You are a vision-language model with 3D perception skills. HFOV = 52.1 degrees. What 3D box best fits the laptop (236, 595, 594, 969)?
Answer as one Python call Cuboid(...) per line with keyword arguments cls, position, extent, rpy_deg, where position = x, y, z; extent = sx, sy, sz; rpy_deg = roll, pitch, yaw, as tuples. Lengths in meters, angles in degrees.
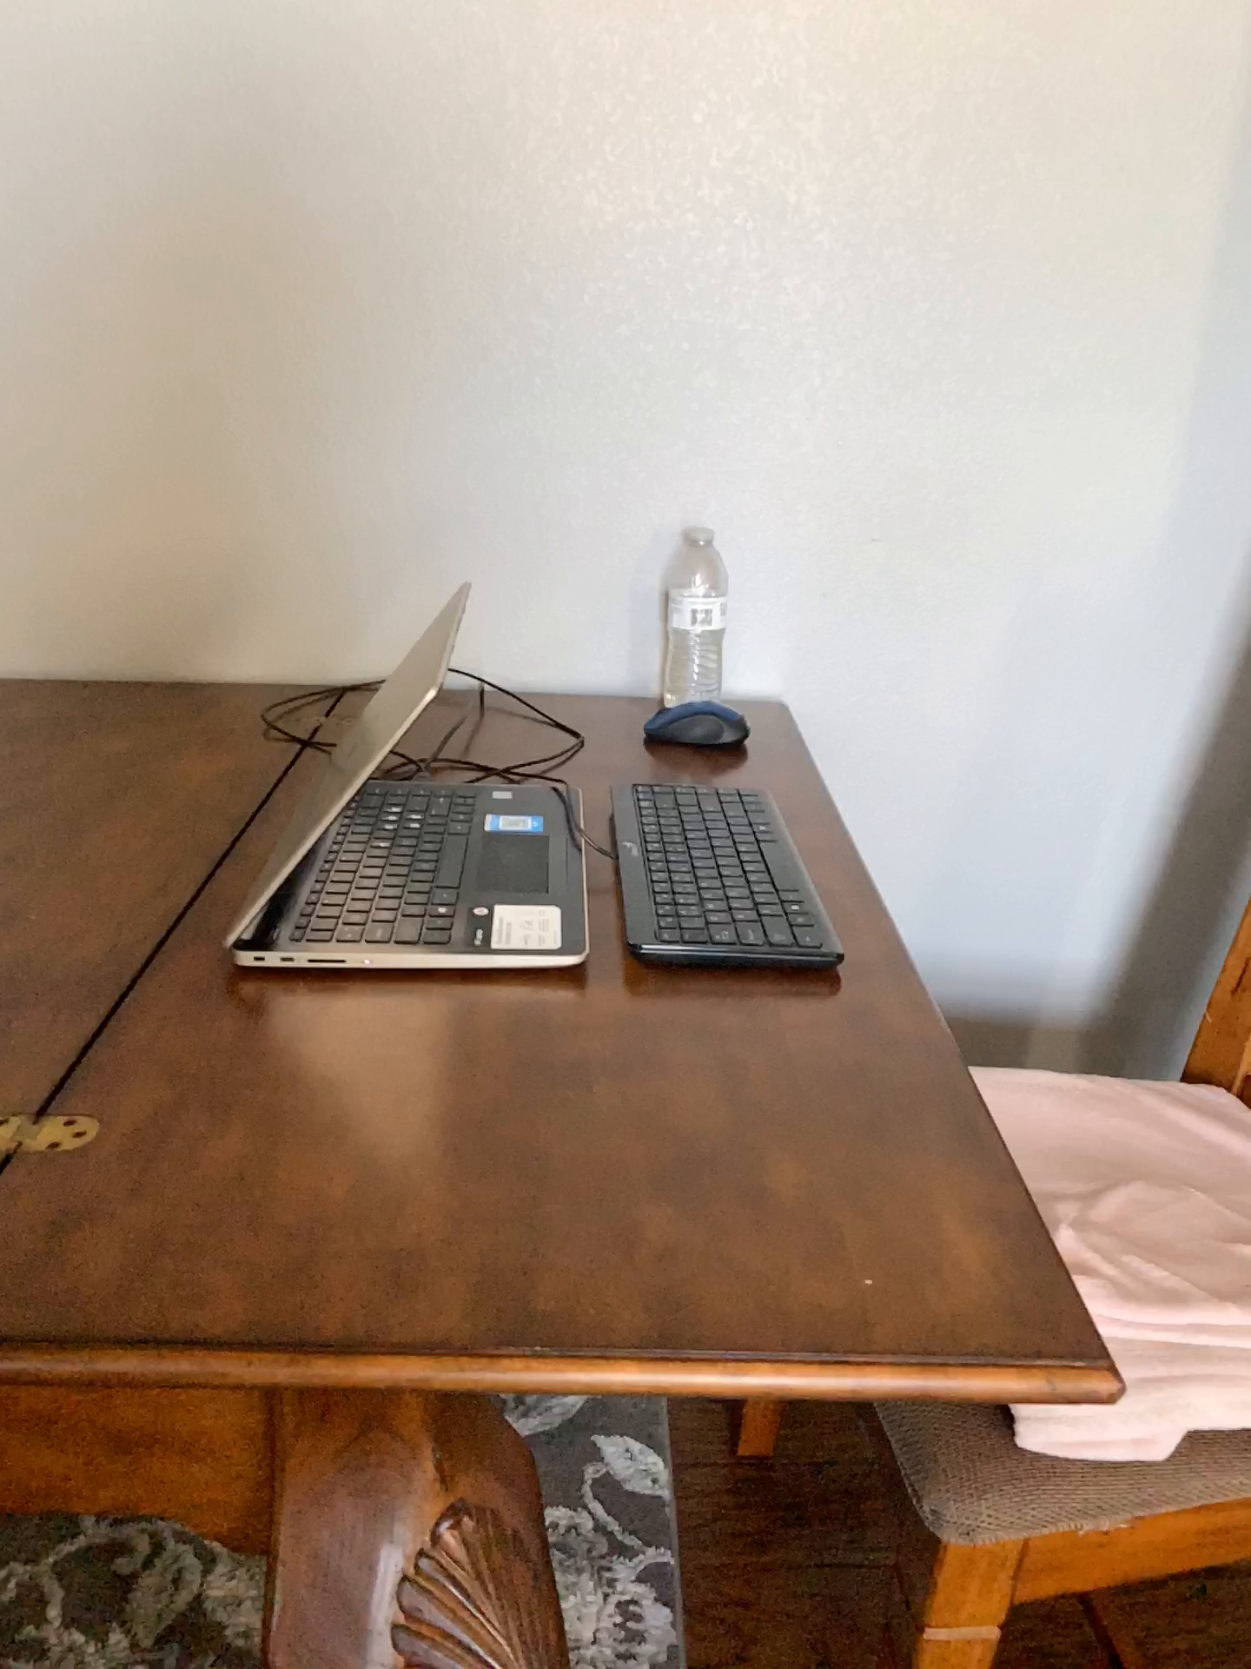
Cuboid(cls="laptop", position=(-0.127, -0.052, 0.883), extent=(0.198, 0.157, 0.304), rpy_deg=(2, 20, -4))
